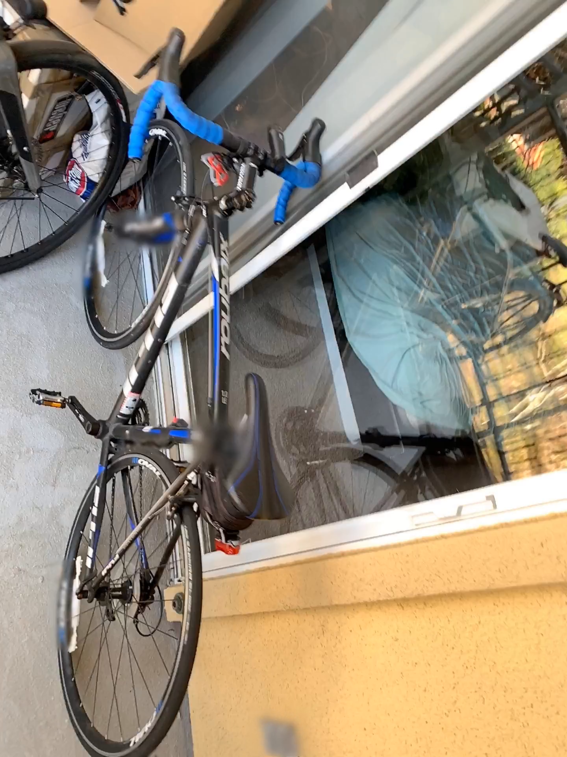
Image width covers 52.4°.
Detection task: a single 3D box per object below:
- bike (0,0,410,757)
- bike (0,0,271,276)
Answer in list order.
[{"bbox_3d":[-0.263,0.003,1.305,0.364,0.932,1.501,12,66,-38],"label":"bike"},{"bbox_3d":[-0.959,-0.737,1.018,1.592,0.971,0.621,-4,73,-45],"label":"bike"}]
